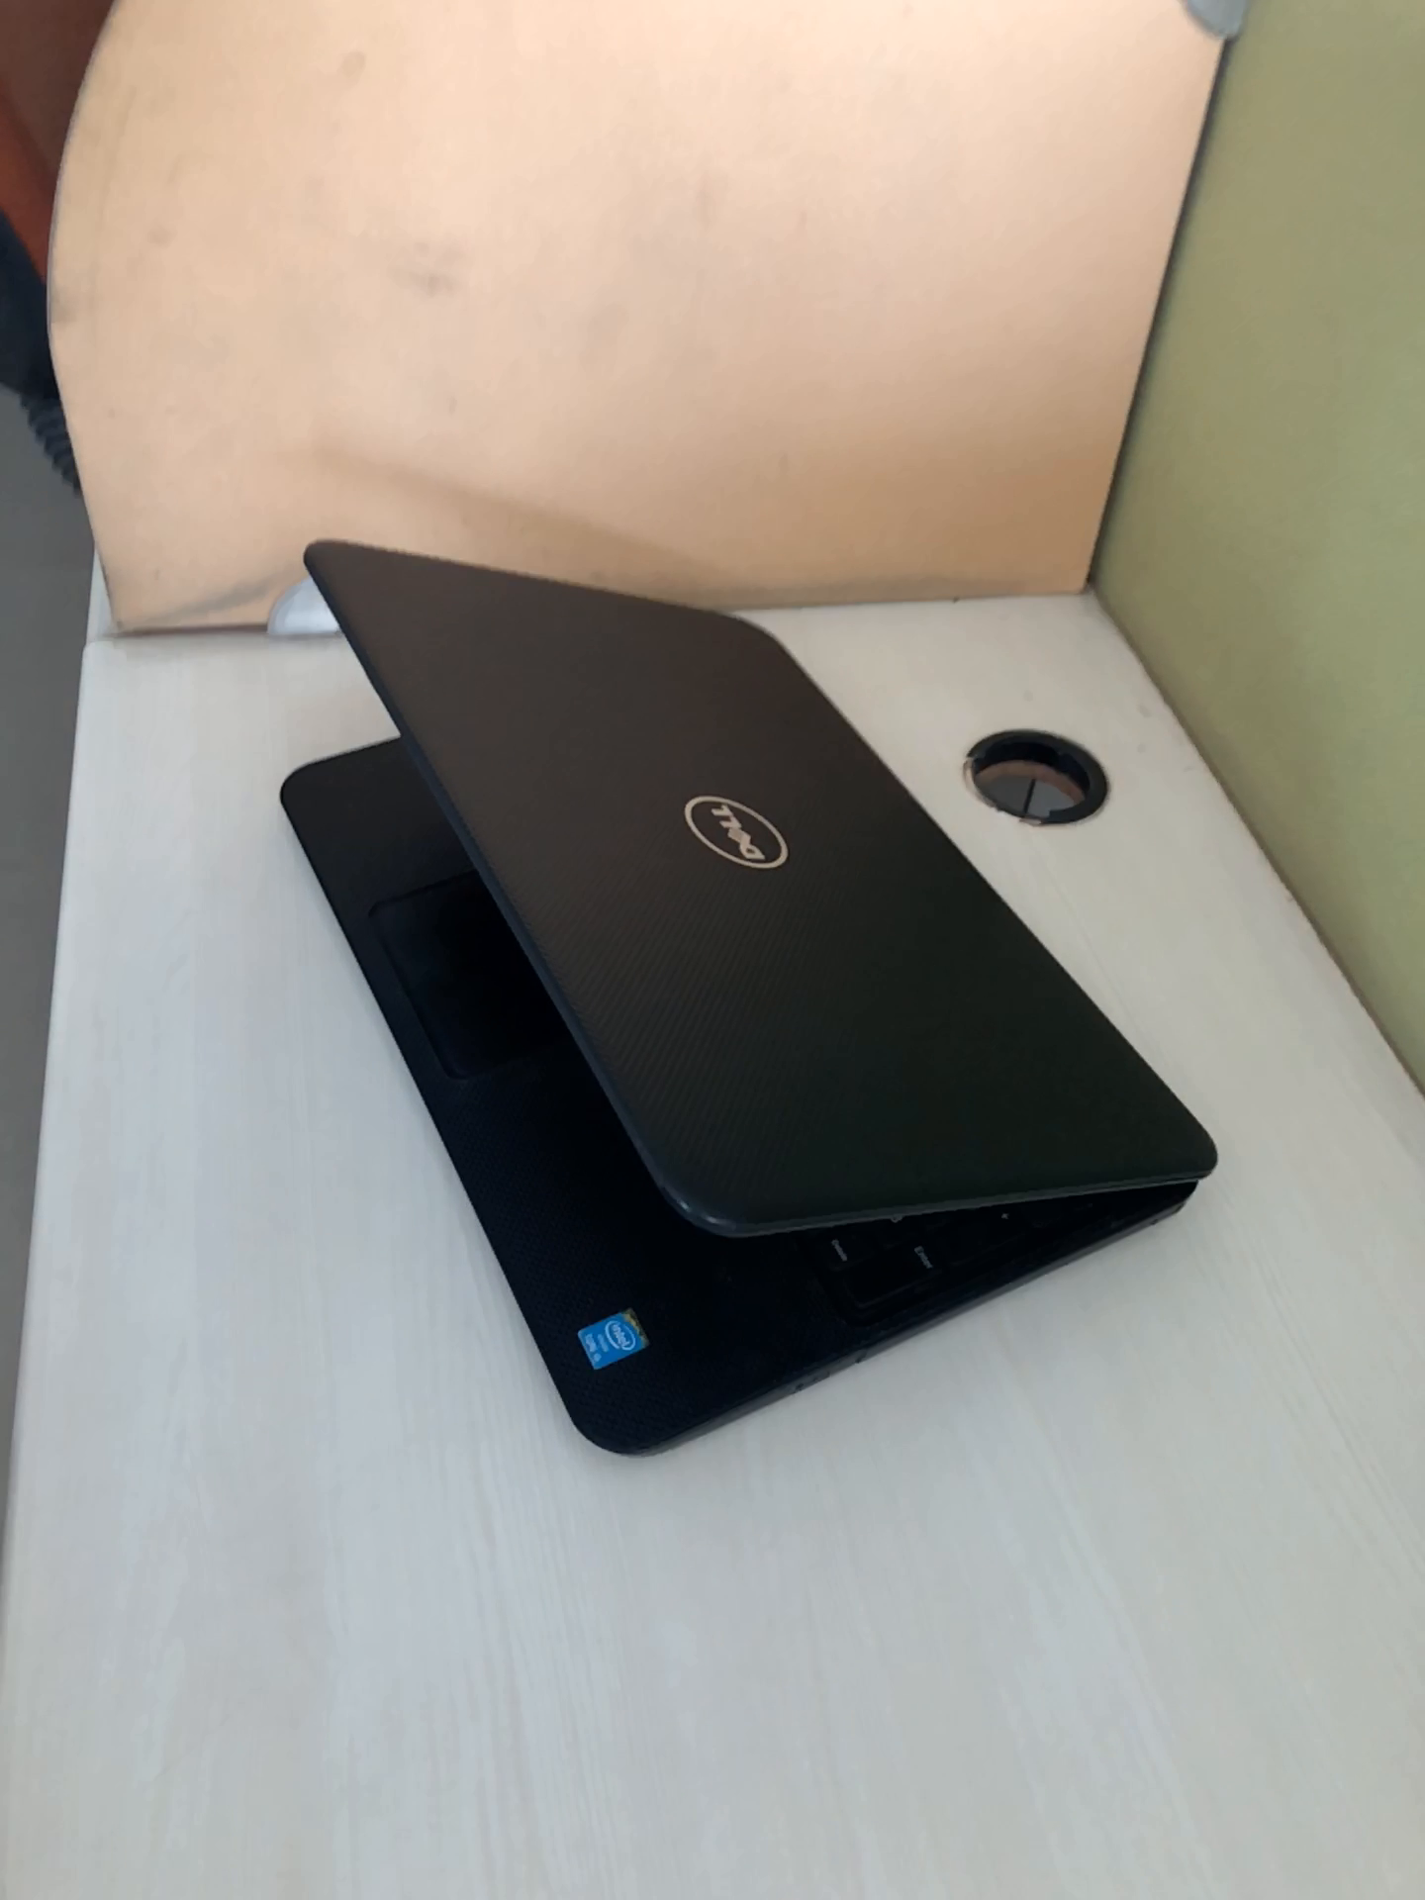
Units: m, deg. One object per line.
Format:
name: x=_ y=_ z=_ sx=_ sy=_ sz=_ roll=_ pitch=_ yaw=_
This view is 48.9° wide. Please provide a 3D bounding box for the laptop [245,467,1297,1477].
laptop: x=-0.005 y=-0.027 z=0.619 sx=0.247 sy=0.106 sz=0.367 roll=-19 pitch=51 yaw=-19
